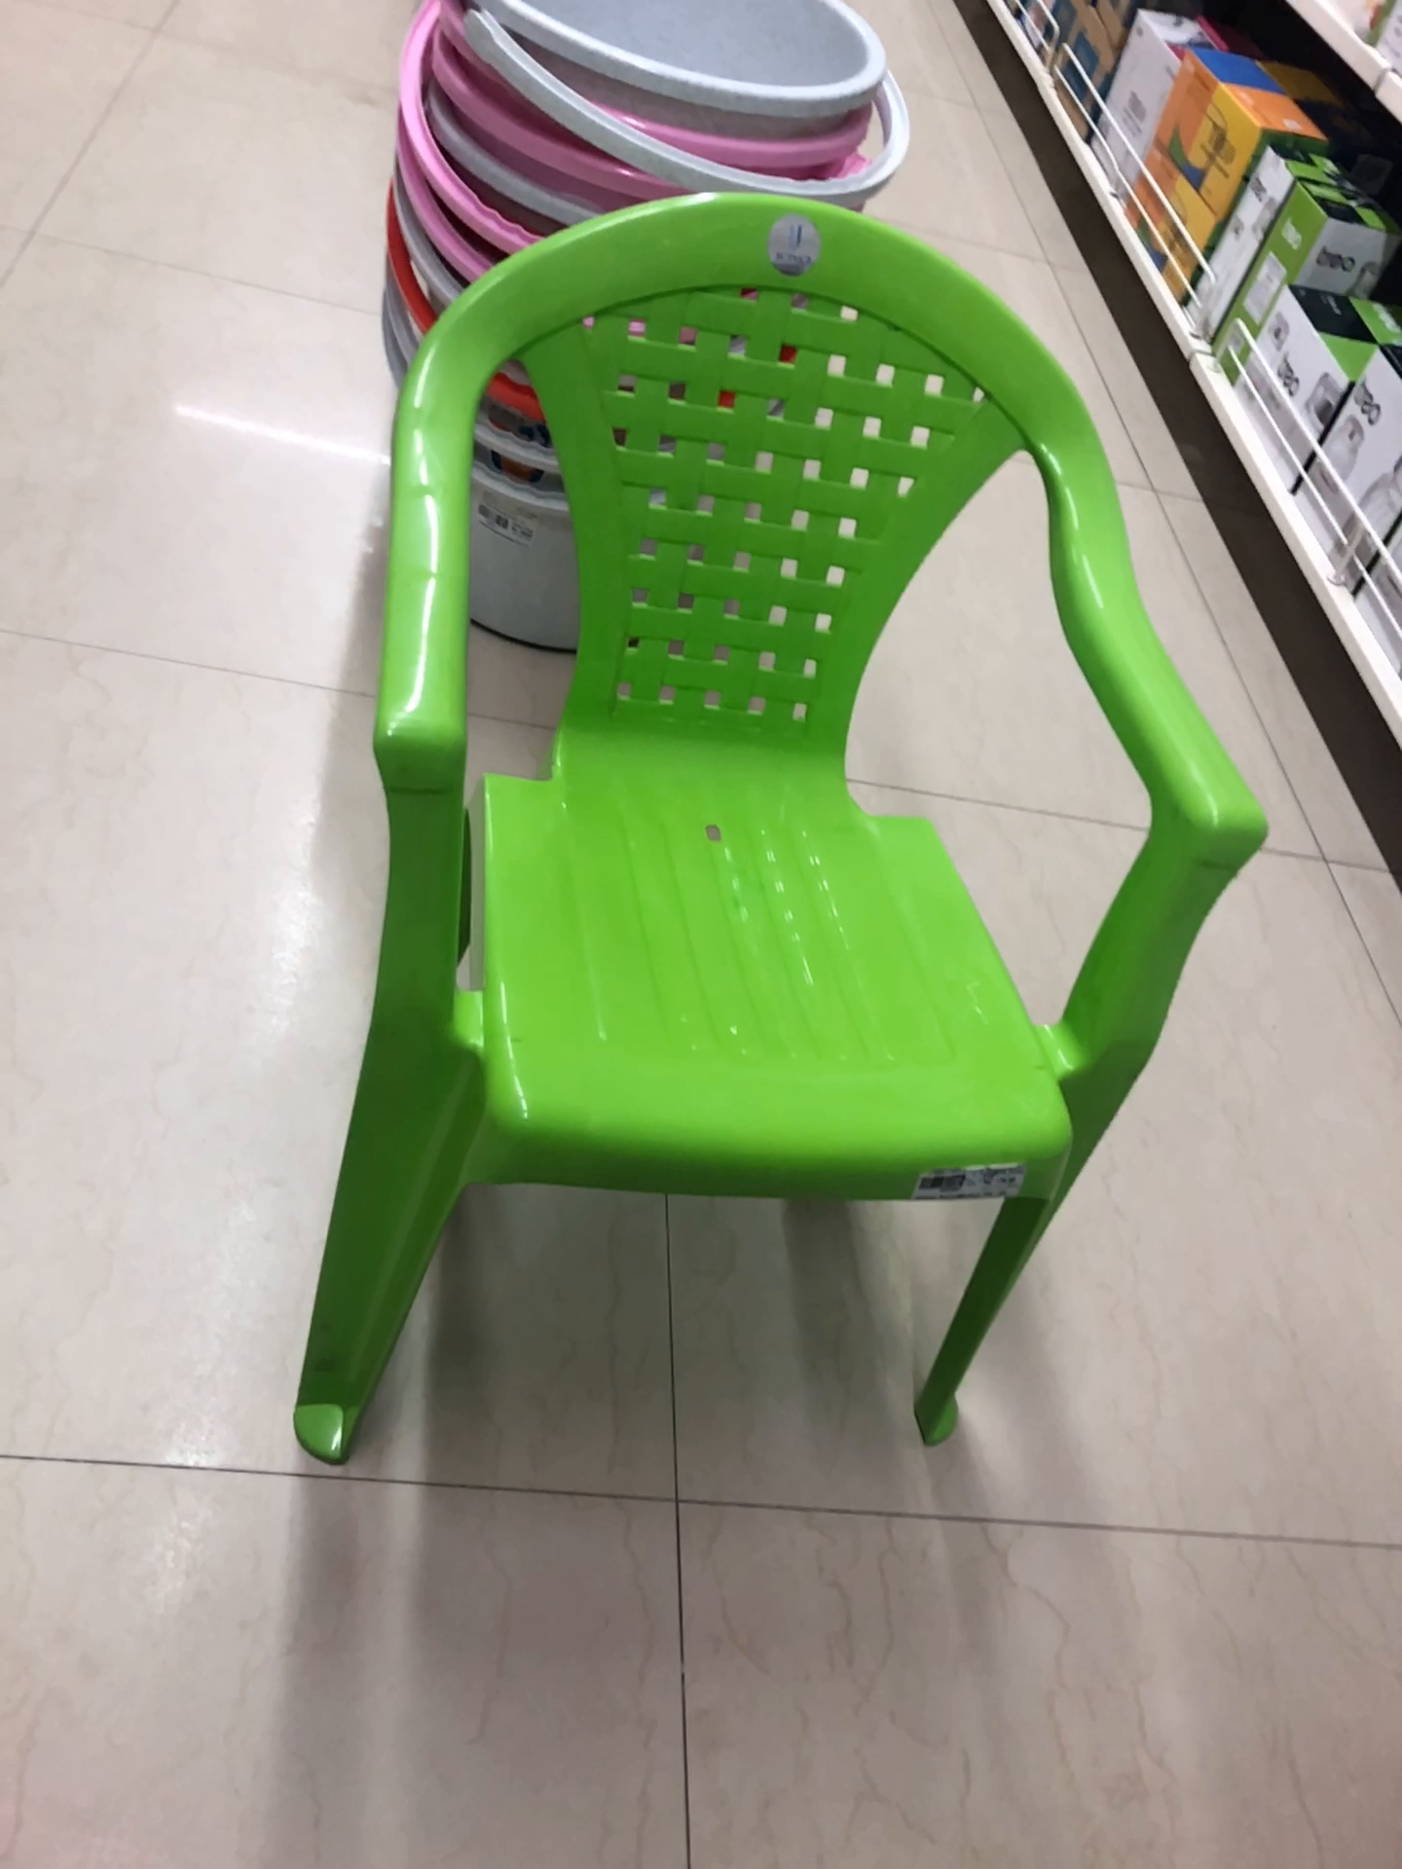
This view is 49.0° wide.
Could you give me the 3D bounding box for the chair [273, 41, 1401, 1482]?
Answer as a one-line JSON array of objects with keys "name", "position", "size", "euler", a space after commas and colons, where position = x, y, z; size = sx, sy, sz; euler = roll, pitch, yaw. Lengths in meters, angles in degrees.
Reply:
[{"name": "chair", "position": [0.021, -0.021, 0.683], "size": [0.360, 0.517, 0.312], "euler": [5, 47, -16]}]
